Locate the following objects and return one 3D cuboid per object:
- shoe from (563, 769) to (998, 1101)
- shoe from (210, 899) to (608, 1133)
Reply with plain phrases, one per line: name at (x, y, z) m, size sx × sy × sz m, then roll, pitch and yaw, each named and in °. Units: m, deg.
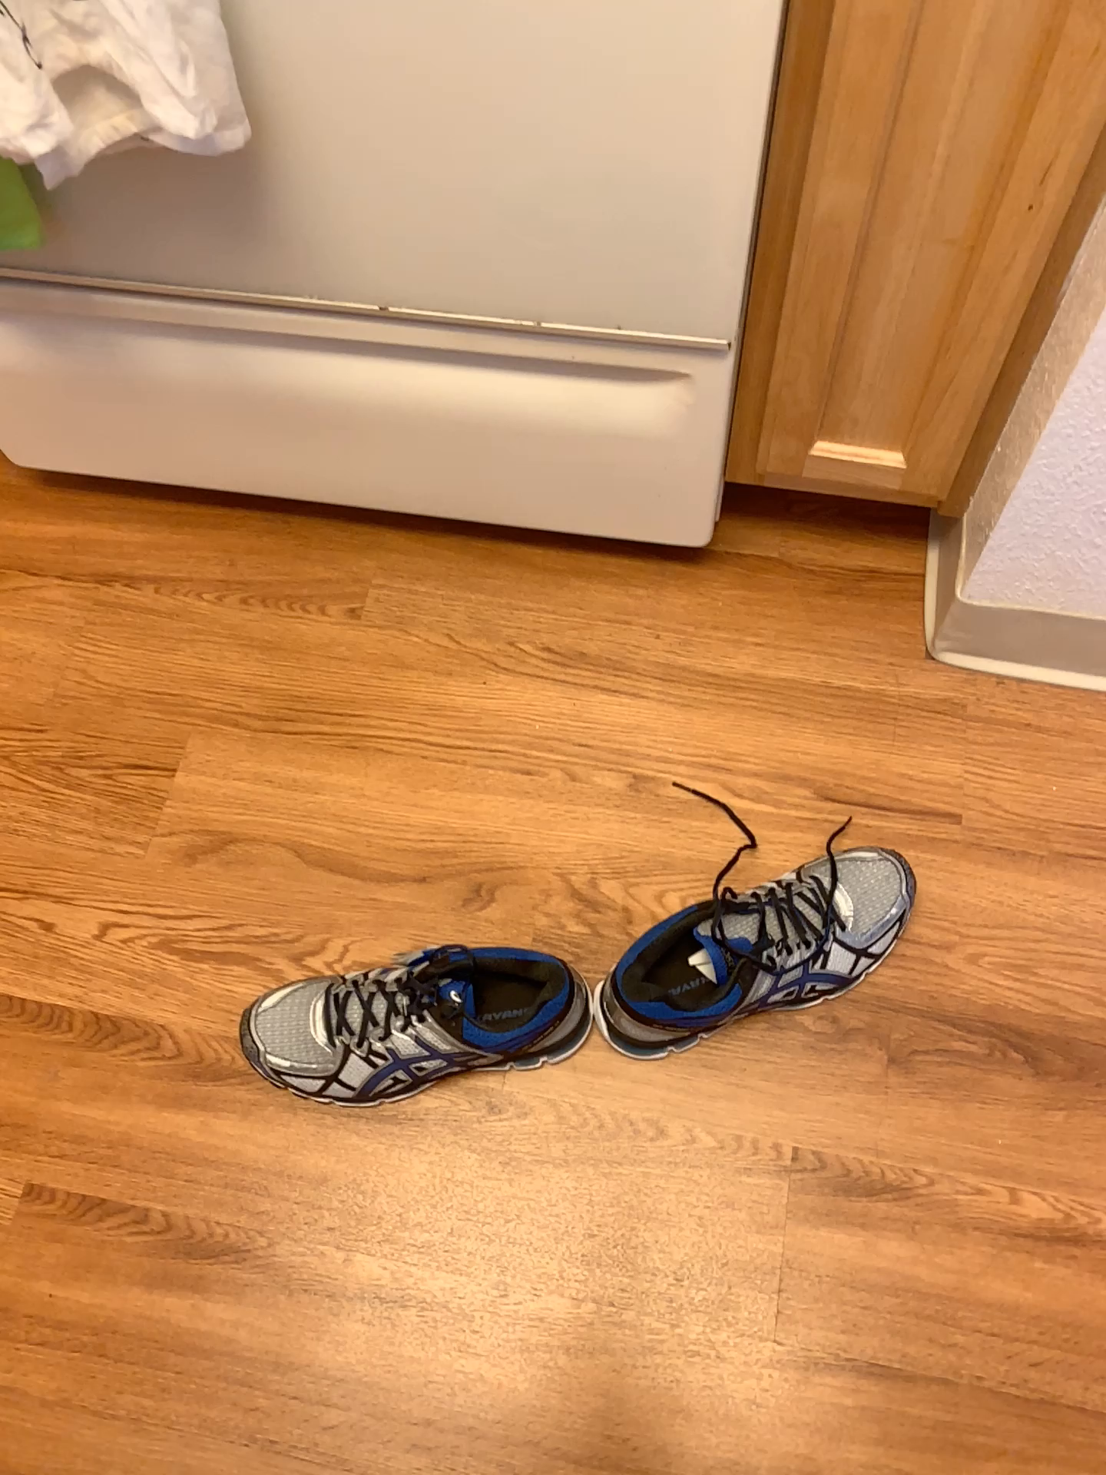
shoe at (0.185, 0.167, 0.953) m, size 0.330 × 0.110 × 0.120 m, roll -25°, pitch 65°, yaw -8°
shoe at (-0.113, 0.232, 0.929) m, size 0.300 × 0.120 × 0.120 m, roll -9°, pitch 64°, yaw -1°
